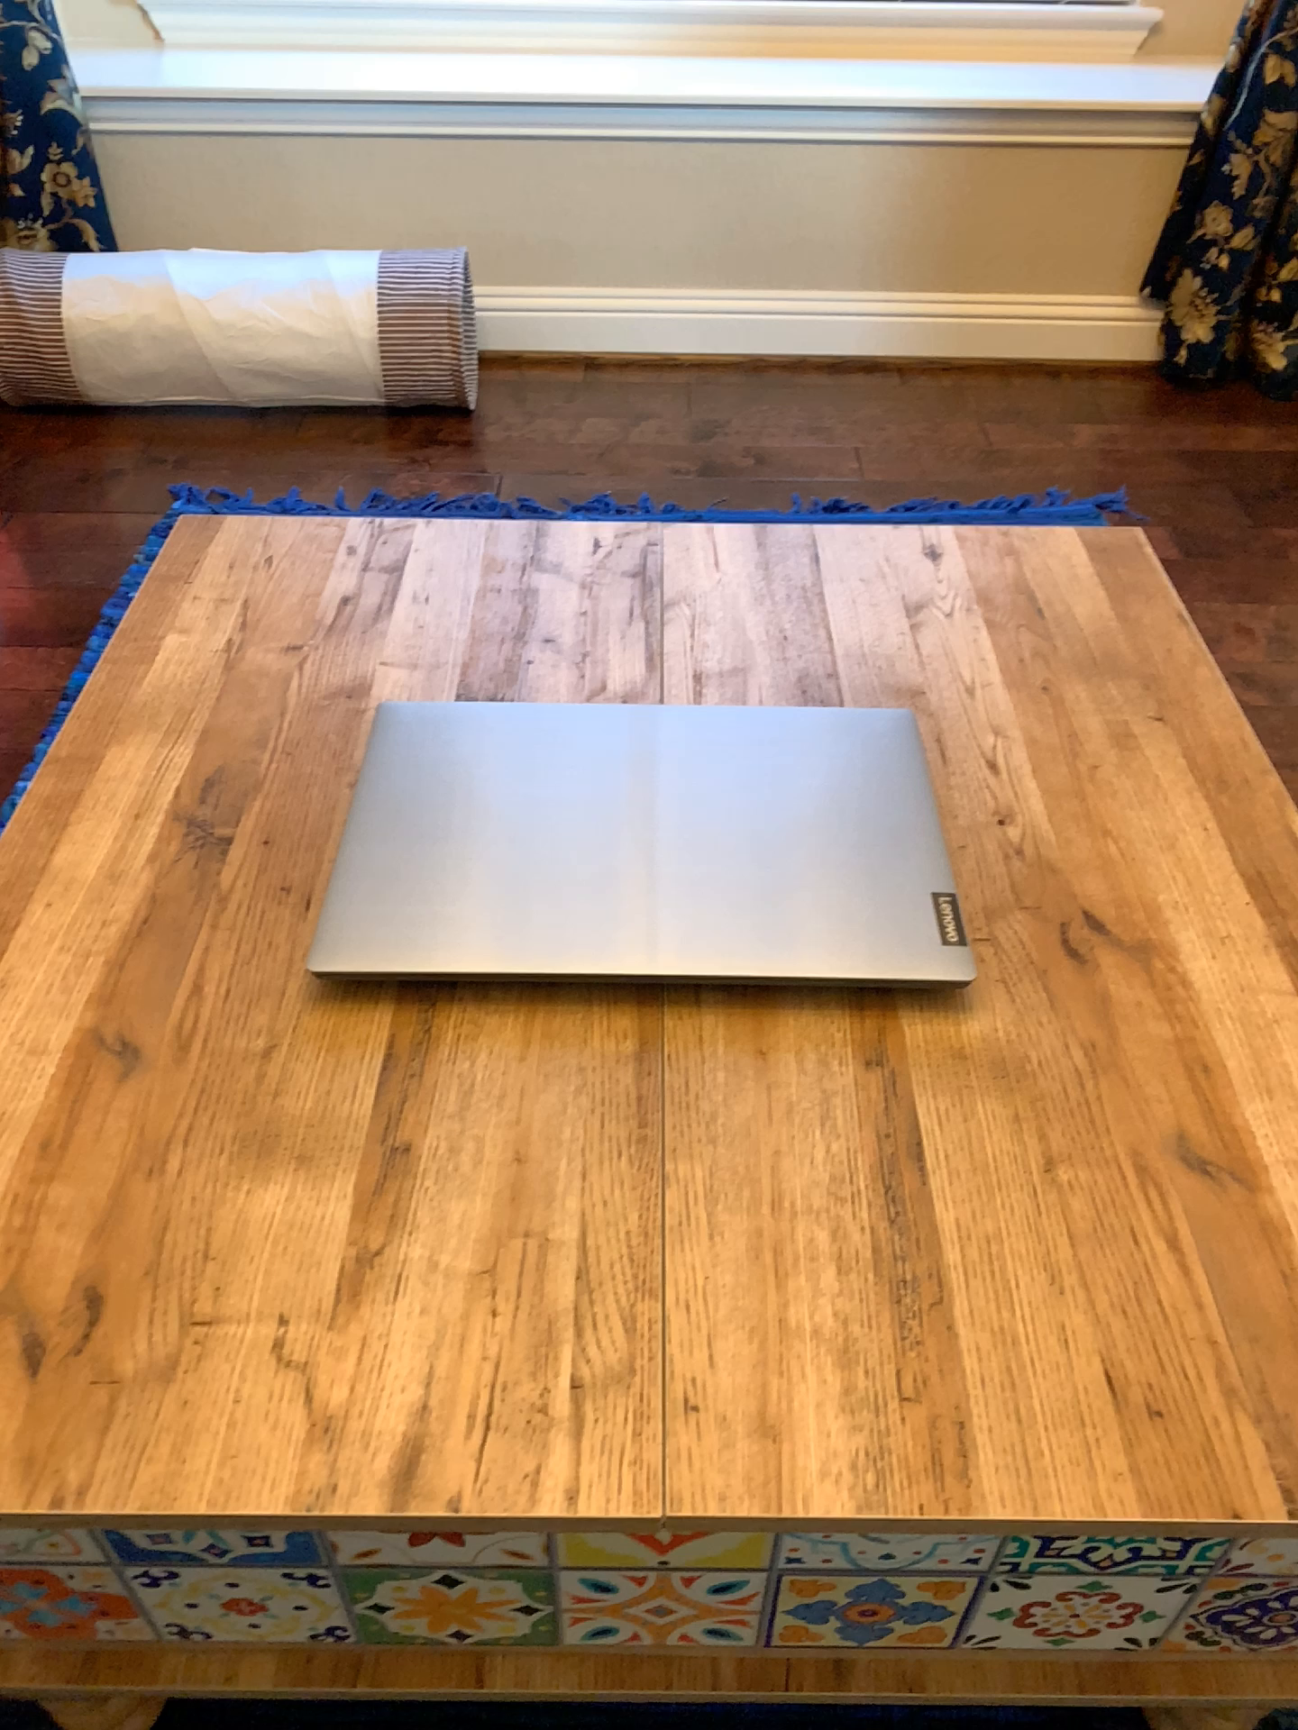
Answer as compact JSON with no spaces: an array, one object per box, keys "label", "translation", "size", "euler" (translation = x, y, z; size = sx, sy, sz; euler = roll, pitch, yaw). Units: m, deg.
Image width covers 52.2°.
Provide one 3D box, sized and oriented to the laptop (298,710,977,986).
[{"label":"laptop","translation":[-0.006,-0.019,0.772],"size":[0.347,0.011,0.238],"euler":[0,40,1]}]
